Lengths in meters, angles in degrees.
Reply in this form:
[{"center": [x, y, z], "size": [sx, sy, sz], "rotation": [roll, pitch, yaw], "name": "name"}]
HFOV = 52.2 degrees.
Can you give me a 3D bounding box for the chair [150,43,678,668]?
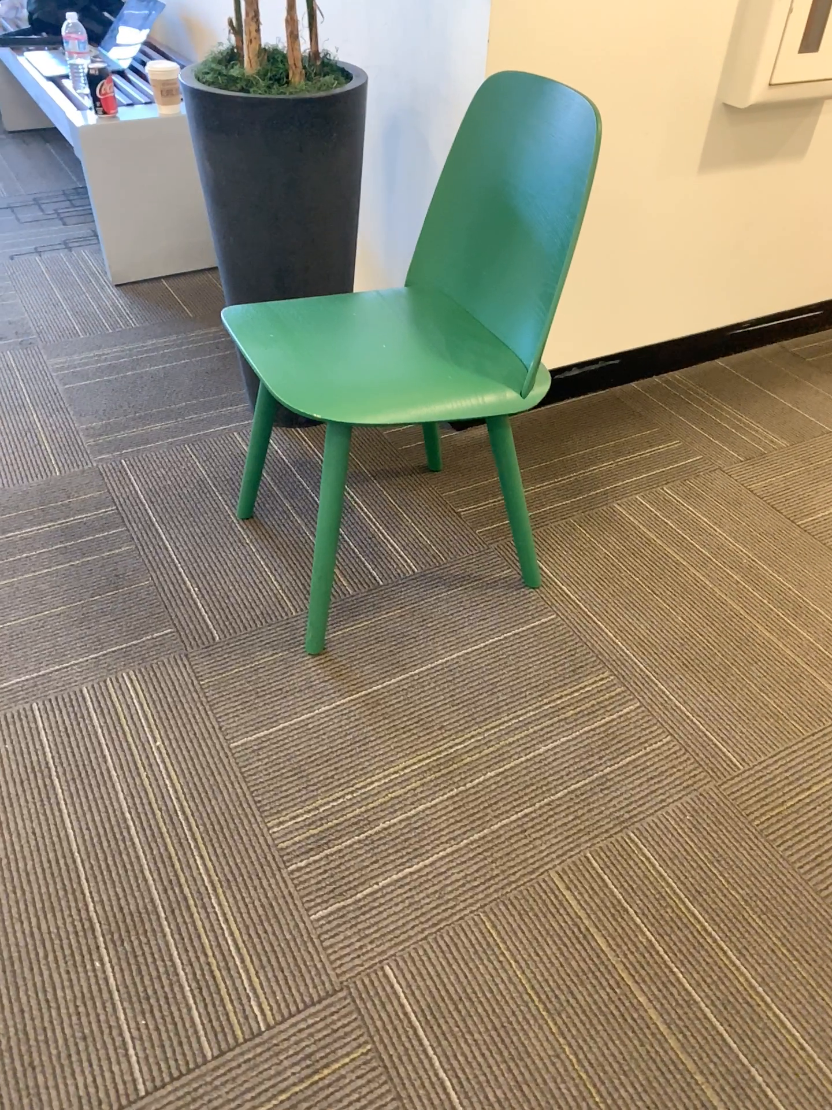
[{"center": [-0.039, -0.327, 1.367], "size": [0.540, 0.765, 0.483], "rotation": [-16, 44, -22], "name": "chair"}]
